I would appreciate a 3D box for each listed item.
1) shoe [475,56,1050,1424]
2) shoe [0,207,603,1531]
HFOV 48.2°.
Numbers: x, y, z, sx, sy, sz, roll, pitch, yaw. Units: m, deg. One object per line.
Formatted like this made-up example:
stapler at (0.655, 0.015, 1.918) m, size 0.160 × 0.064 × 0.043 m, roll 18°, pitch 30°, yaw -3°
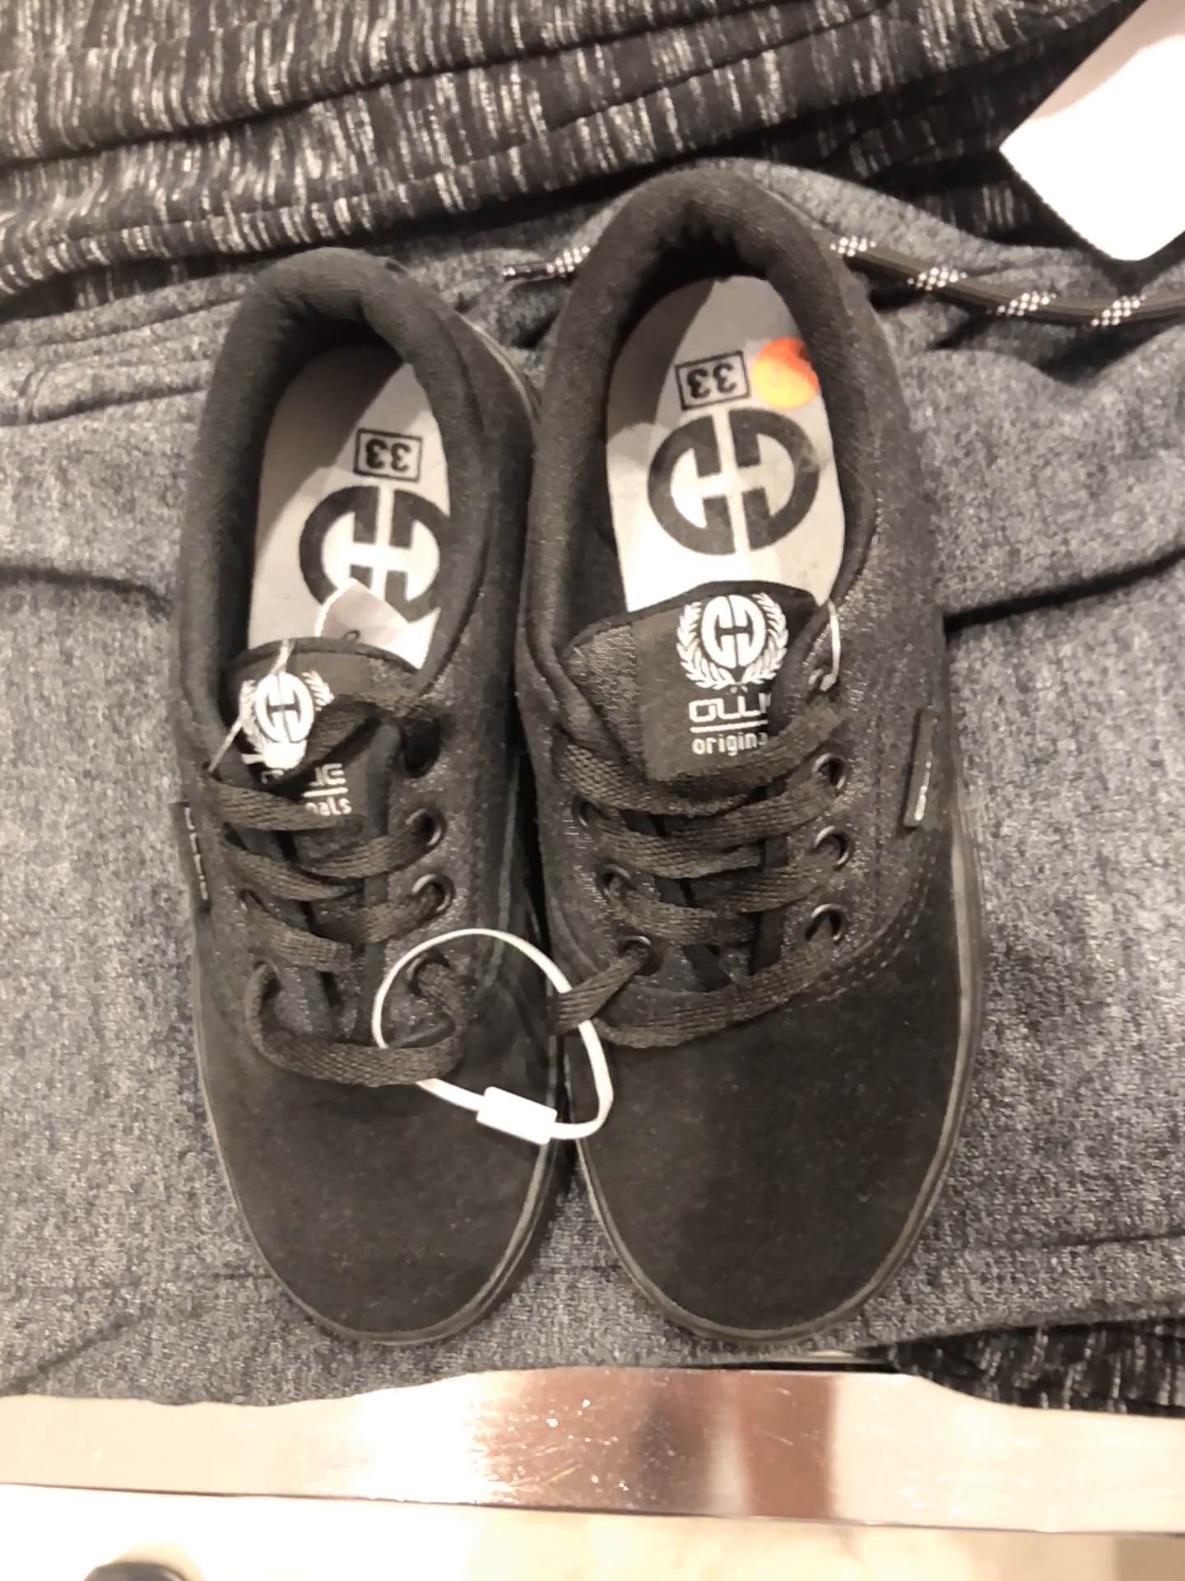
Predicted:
shoe at (0.031, -0.009, 0.274) m, size 0.090 × 0.080 × 0.240 m, roll -3°, pitch 85°, yaw 5°
shoe at (-0.050, 0.011, 0.265) m, size 0.090 × 0.080 × 0.220 m, roll 1°, pitch 85°, yaw 6°
